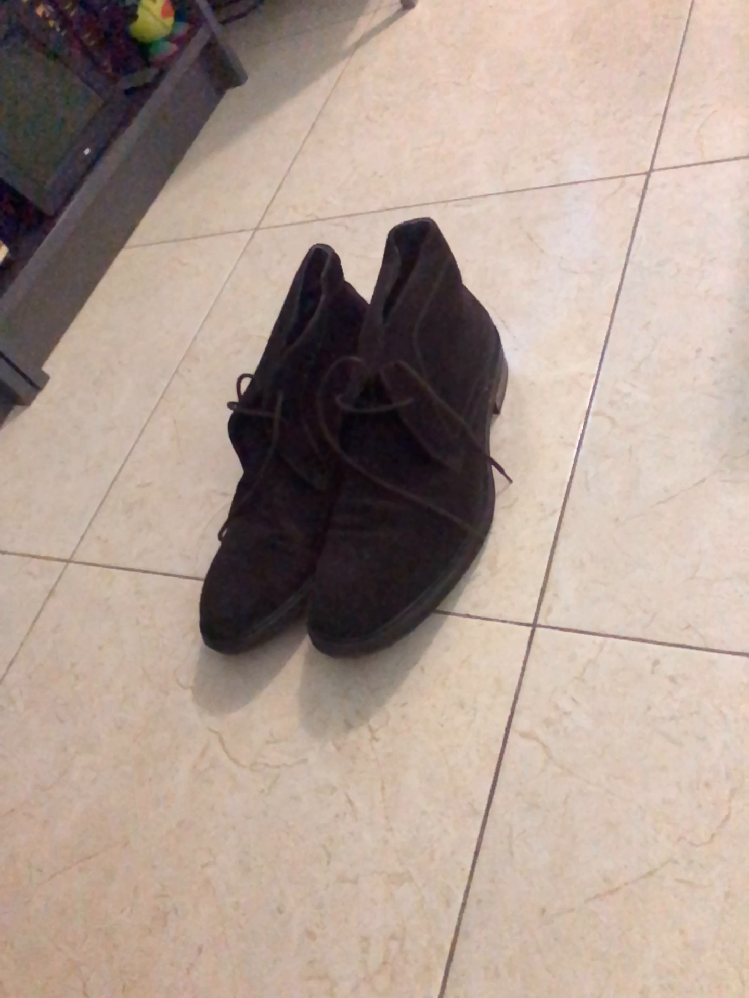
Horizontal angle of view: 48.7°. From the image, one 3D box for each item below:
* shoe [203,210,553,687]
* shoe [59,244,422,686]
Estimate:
[{"bbox_3d":[0.021,-0.043,0.592,0.110,0.139,0.300,4,58,32],"label":"shoe"},{"bbox_3d":[-0.083,-0.034,0.626,0.110,0.129,0.300,4,58,32],"label":"shoe"}]
